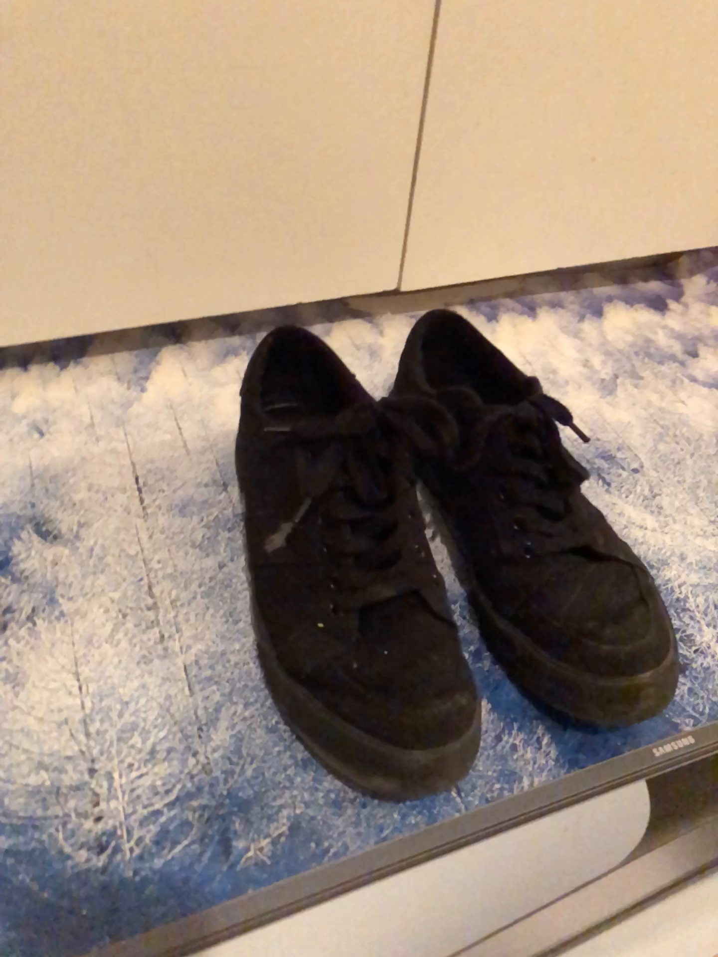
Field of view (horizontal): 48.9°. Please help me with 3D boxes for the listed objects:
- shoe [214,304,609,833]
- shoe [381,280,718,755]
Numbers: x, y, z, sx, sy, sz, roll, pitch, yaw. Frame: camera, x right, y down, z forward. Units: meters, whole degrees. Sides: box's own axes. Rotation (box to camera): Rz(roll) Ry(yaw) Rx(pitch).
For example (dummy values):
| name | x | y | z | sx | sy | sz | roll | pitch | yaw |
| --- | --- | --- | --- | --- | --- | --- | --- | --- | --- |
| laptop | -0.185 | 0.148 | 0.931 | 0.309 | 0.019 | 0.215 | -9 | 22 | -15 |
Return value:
| name | x | y | z | sx | sy | sz | roll | pitch | yaw |
| --- | --- | --- | --- | --- | --- | --- | --- | --- | --- |
| shoe | 0.005 | 0.029 | 0.446 | 0.110 | 0.109 | 0.272 | -11 | 48 | -17 |
| shoe | 0.116 | 0.004 | 0.470 | 0.110 | 0.109 | 0.262 | -11 | 48 | -17 |
